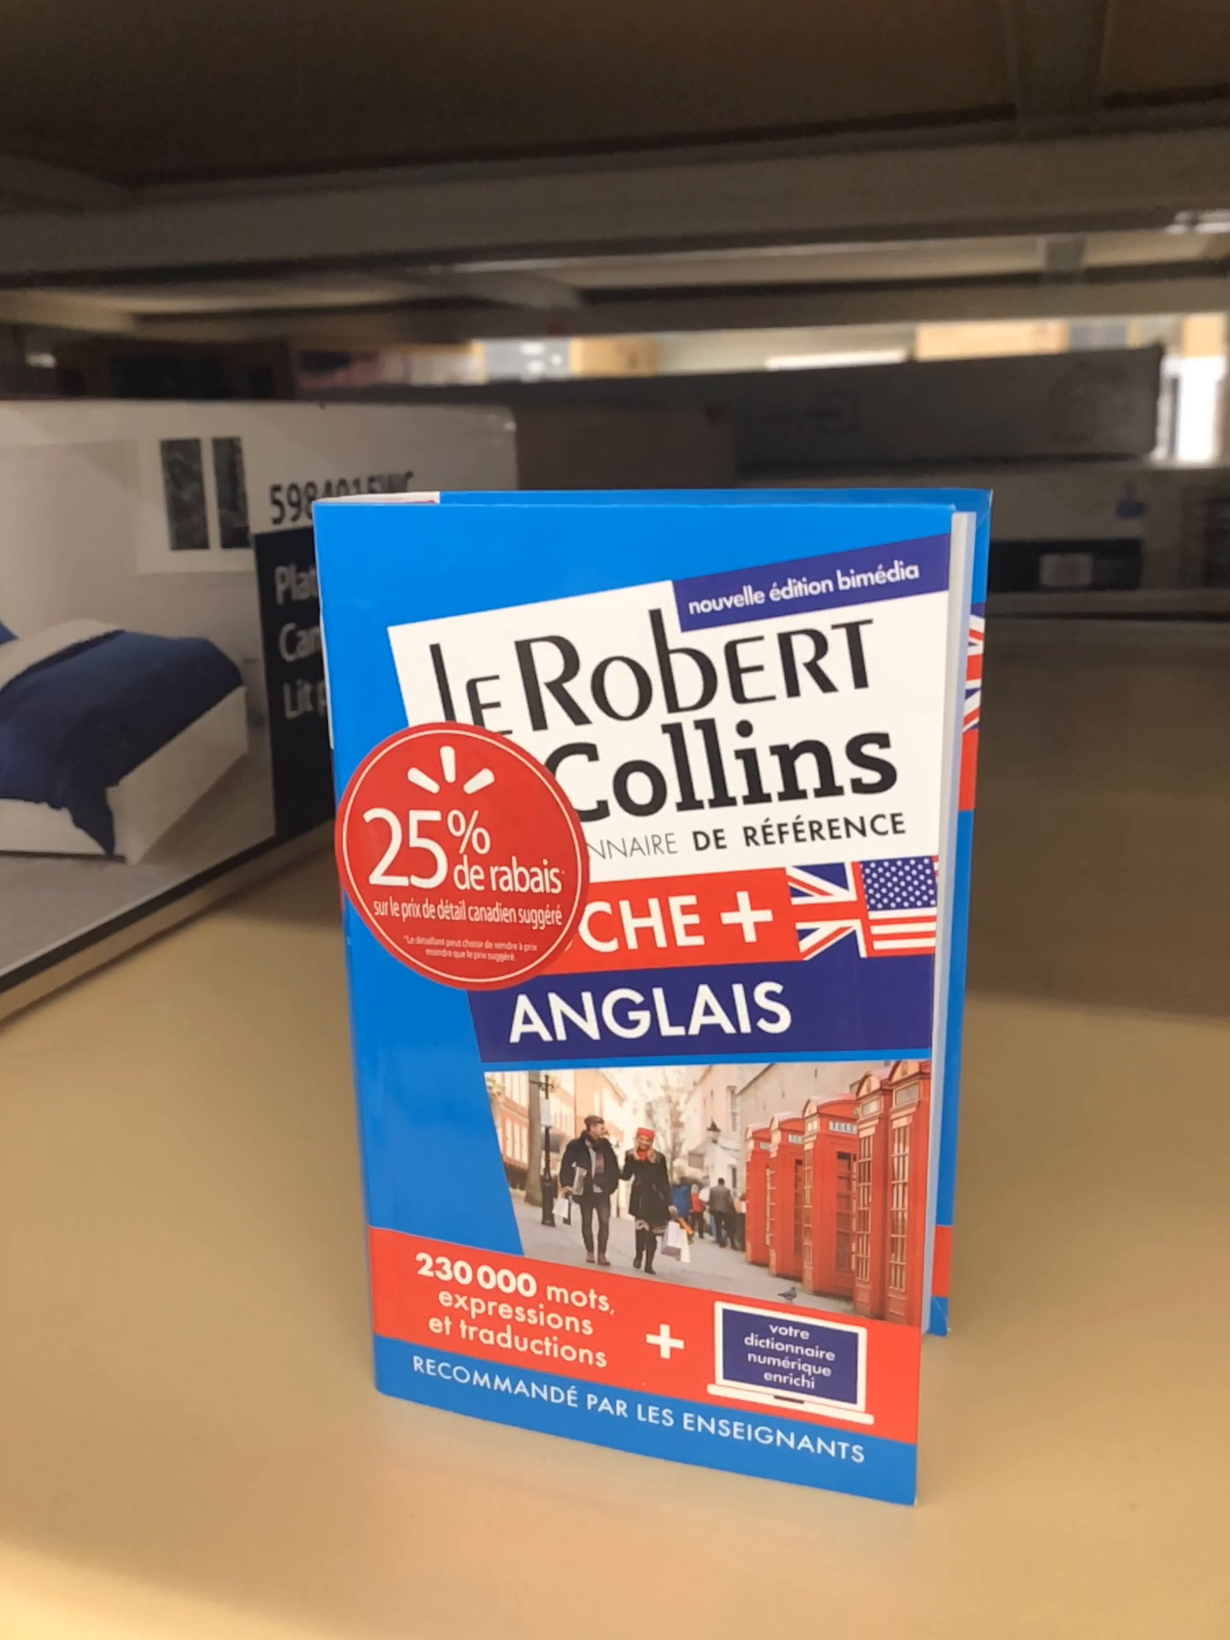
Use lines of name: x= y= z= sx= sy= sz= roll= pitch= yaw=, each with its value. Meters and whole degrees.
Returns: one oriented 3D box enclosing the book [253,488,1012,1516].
book: x=0.007 y=0.027 z=0.263 sx=0.121 sy=0.173 sz=0.059 roll=4 pitch=17 yaw=17
